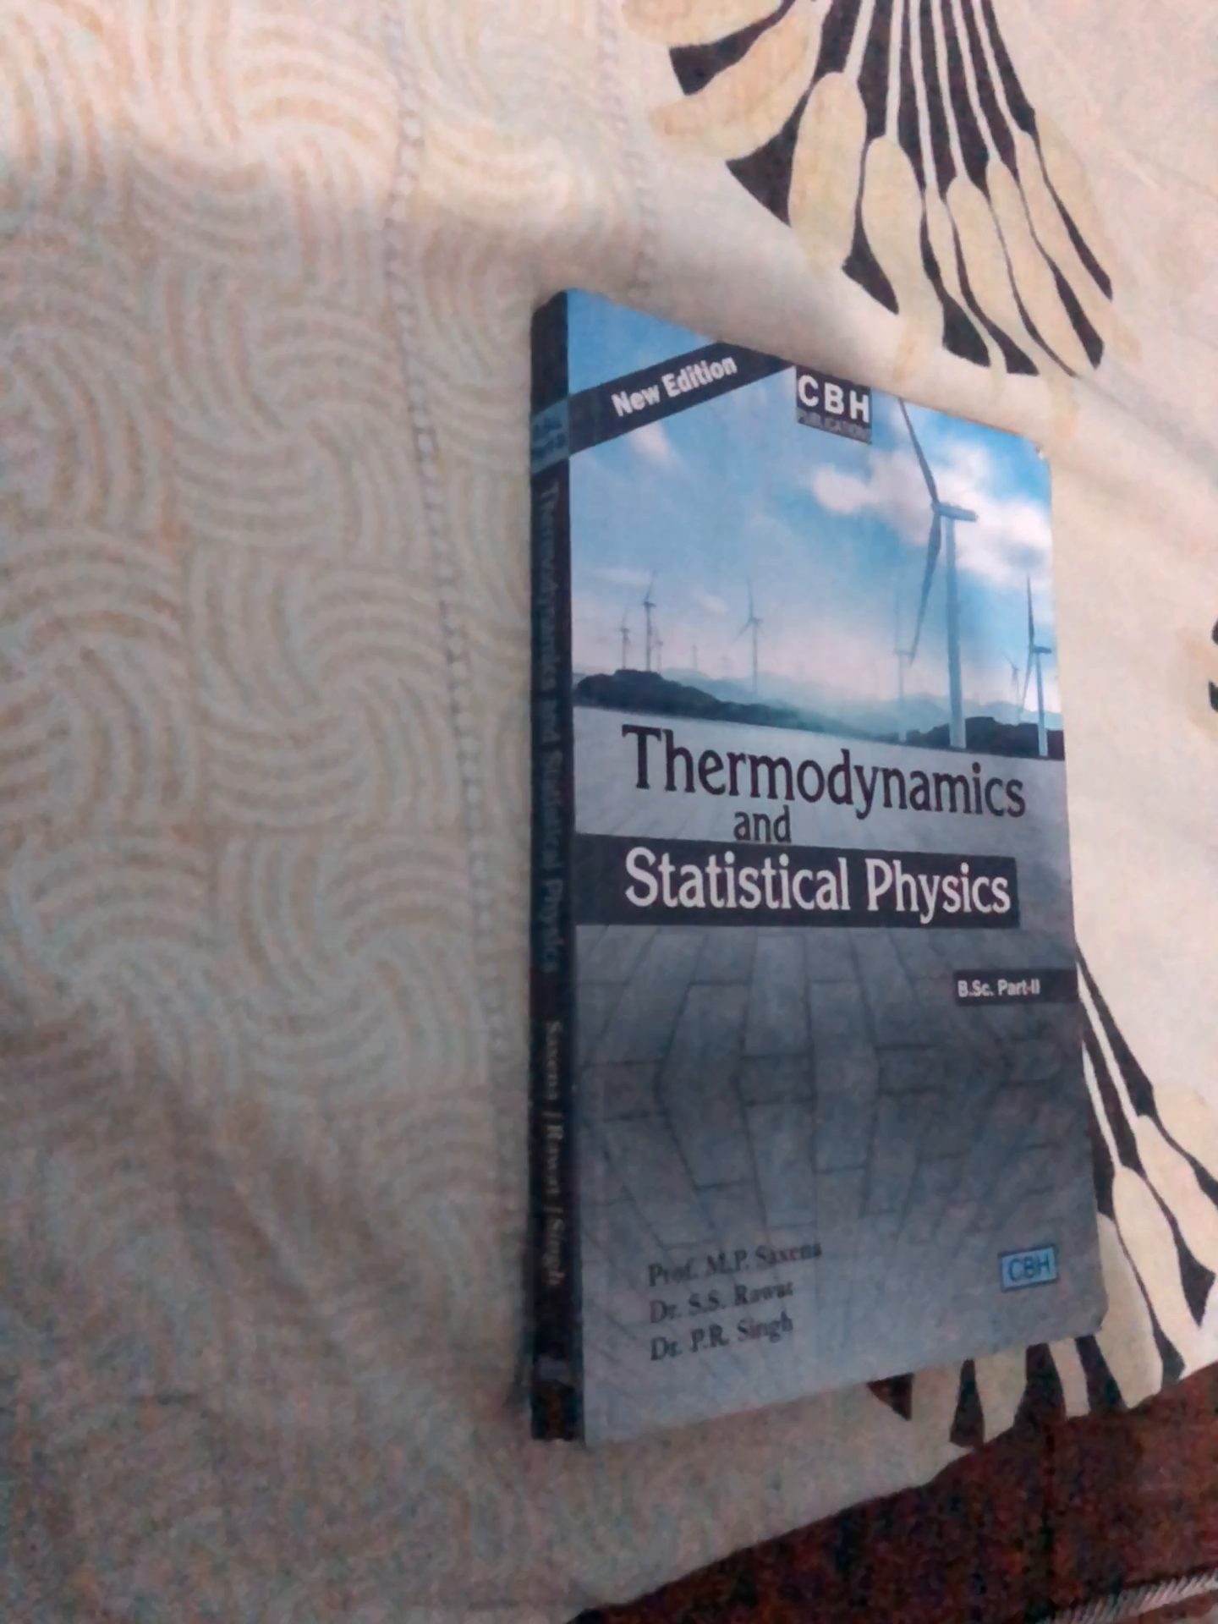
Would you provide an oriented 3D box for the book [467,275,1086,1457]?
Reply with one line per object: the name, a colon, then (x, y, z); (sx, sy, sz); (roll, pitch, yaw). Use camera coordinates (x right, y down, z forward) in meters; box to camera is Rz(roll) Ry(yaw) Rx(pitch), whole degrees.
book: (0.050, 0.013, 0.335); (0.171, 0.030, 0.240); (4, 85, -34)
